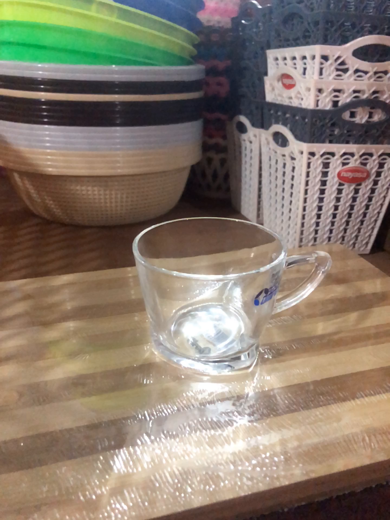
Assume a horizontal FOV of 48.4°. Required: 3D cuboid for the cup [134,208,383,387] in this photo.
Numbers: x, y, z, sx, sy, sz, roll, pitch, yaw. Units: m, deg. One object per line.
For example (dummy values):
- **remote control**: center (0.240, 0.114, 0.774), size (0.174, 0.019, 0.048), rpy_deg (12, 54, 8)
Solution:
- **cup**: center (0.026, 0.014, 0.234), size (0.110, 0.060, 0.070), rpy_deg (-4, 25, -10)
